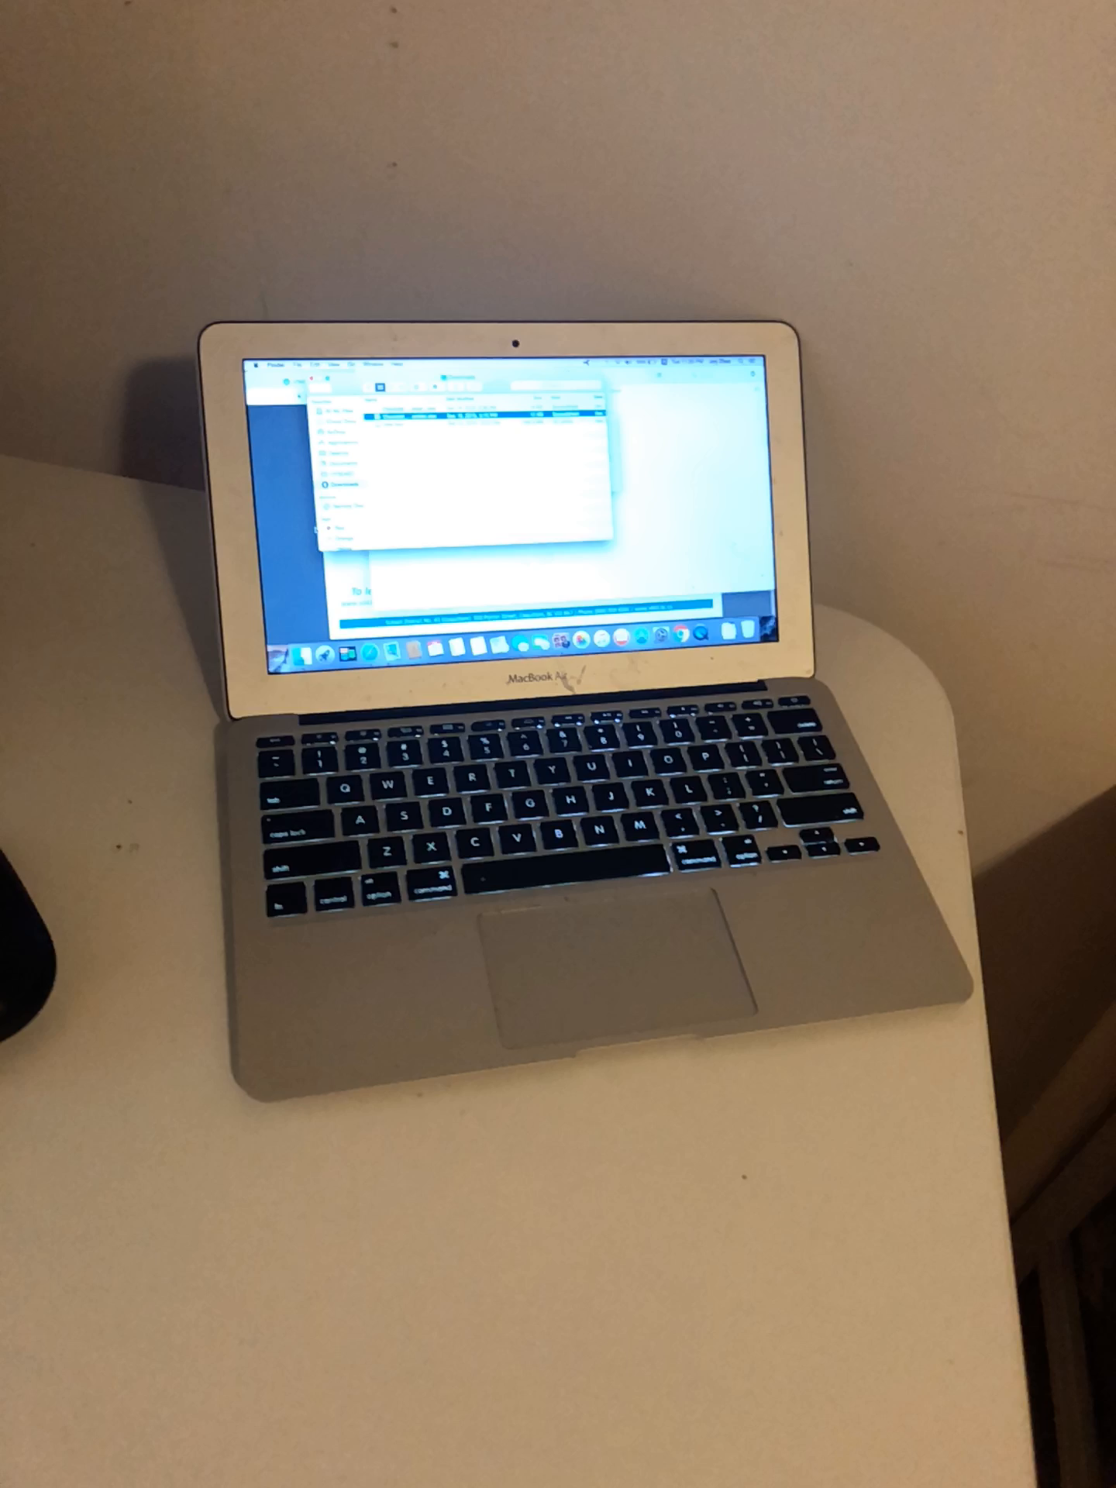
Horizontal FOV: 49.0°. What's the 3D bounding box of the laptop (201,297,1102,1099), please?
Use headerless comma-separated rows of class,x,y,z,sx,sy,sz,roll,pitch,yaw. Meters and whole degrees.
laptop,0.004,-0.047,0.516,0.280,0.126,0.307,-6,49,-12
